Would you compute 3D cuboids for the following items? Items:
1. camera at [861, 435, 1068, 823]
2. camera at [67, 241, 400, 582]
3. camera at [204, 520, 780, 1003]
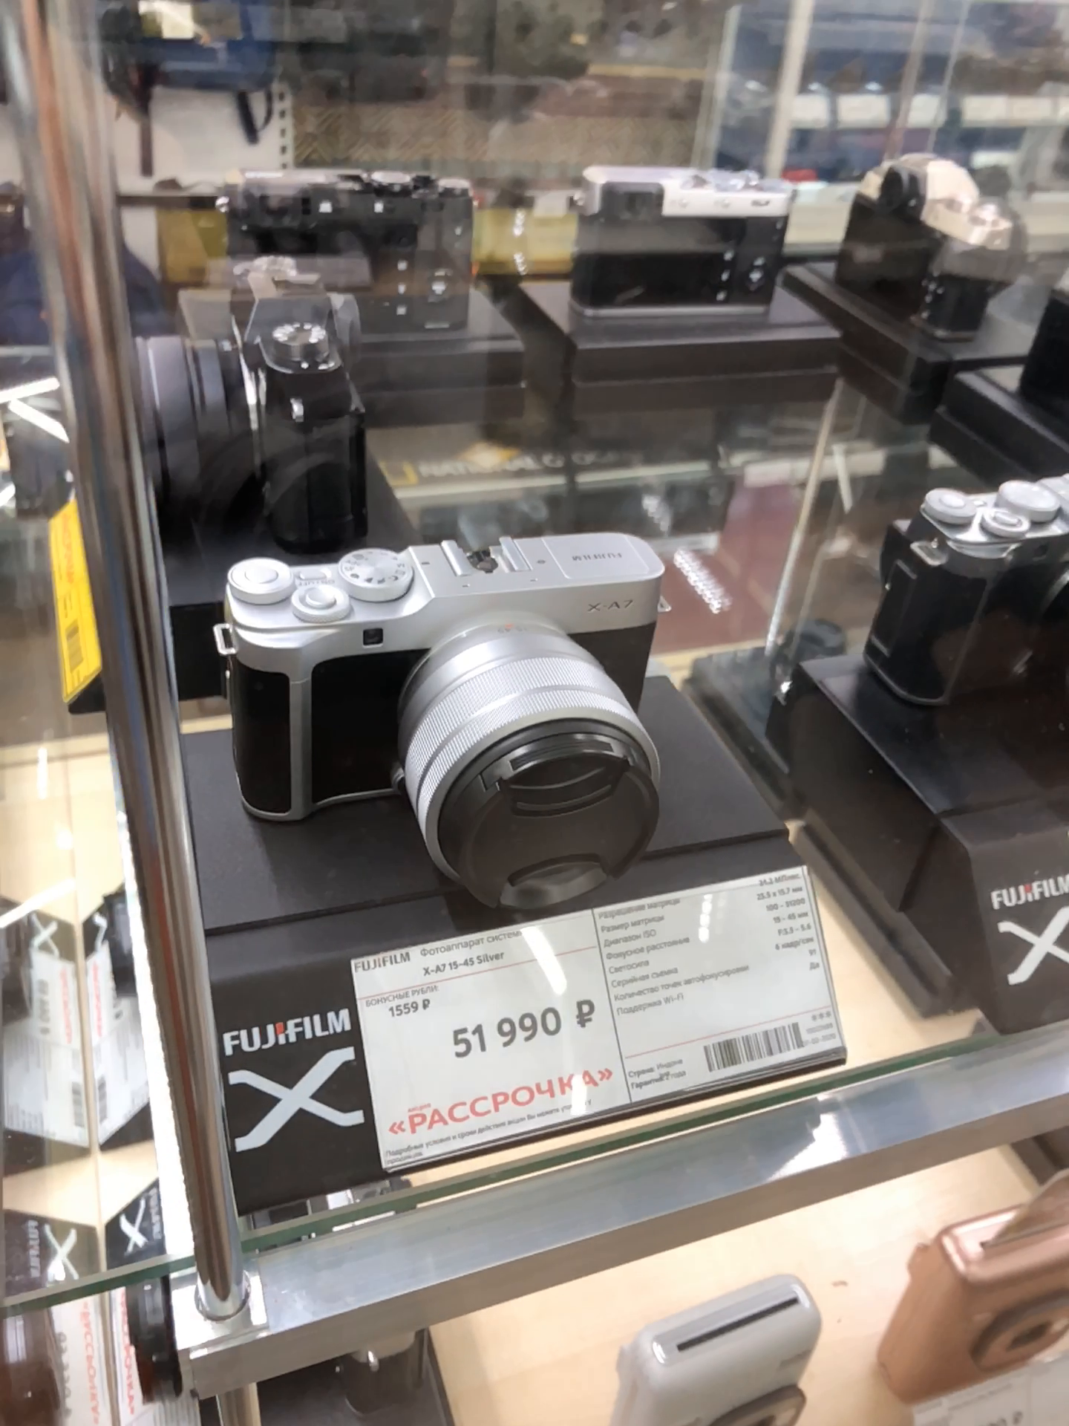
[{"bbox_3d":[0.195,-0.033,0.401,0.115,0.080,0.096,-8,39,-19],"label":"camera"},{"bbox_3d":[-0.114,-0.118,0.444,0.097,0.080,0.116,-9,39,-20],"label":"camera"},{"bbox_3d":[-0.017,0.007,0.321,0.126,0.080,0.085,-7,38,-18],"label":"camera"}]
